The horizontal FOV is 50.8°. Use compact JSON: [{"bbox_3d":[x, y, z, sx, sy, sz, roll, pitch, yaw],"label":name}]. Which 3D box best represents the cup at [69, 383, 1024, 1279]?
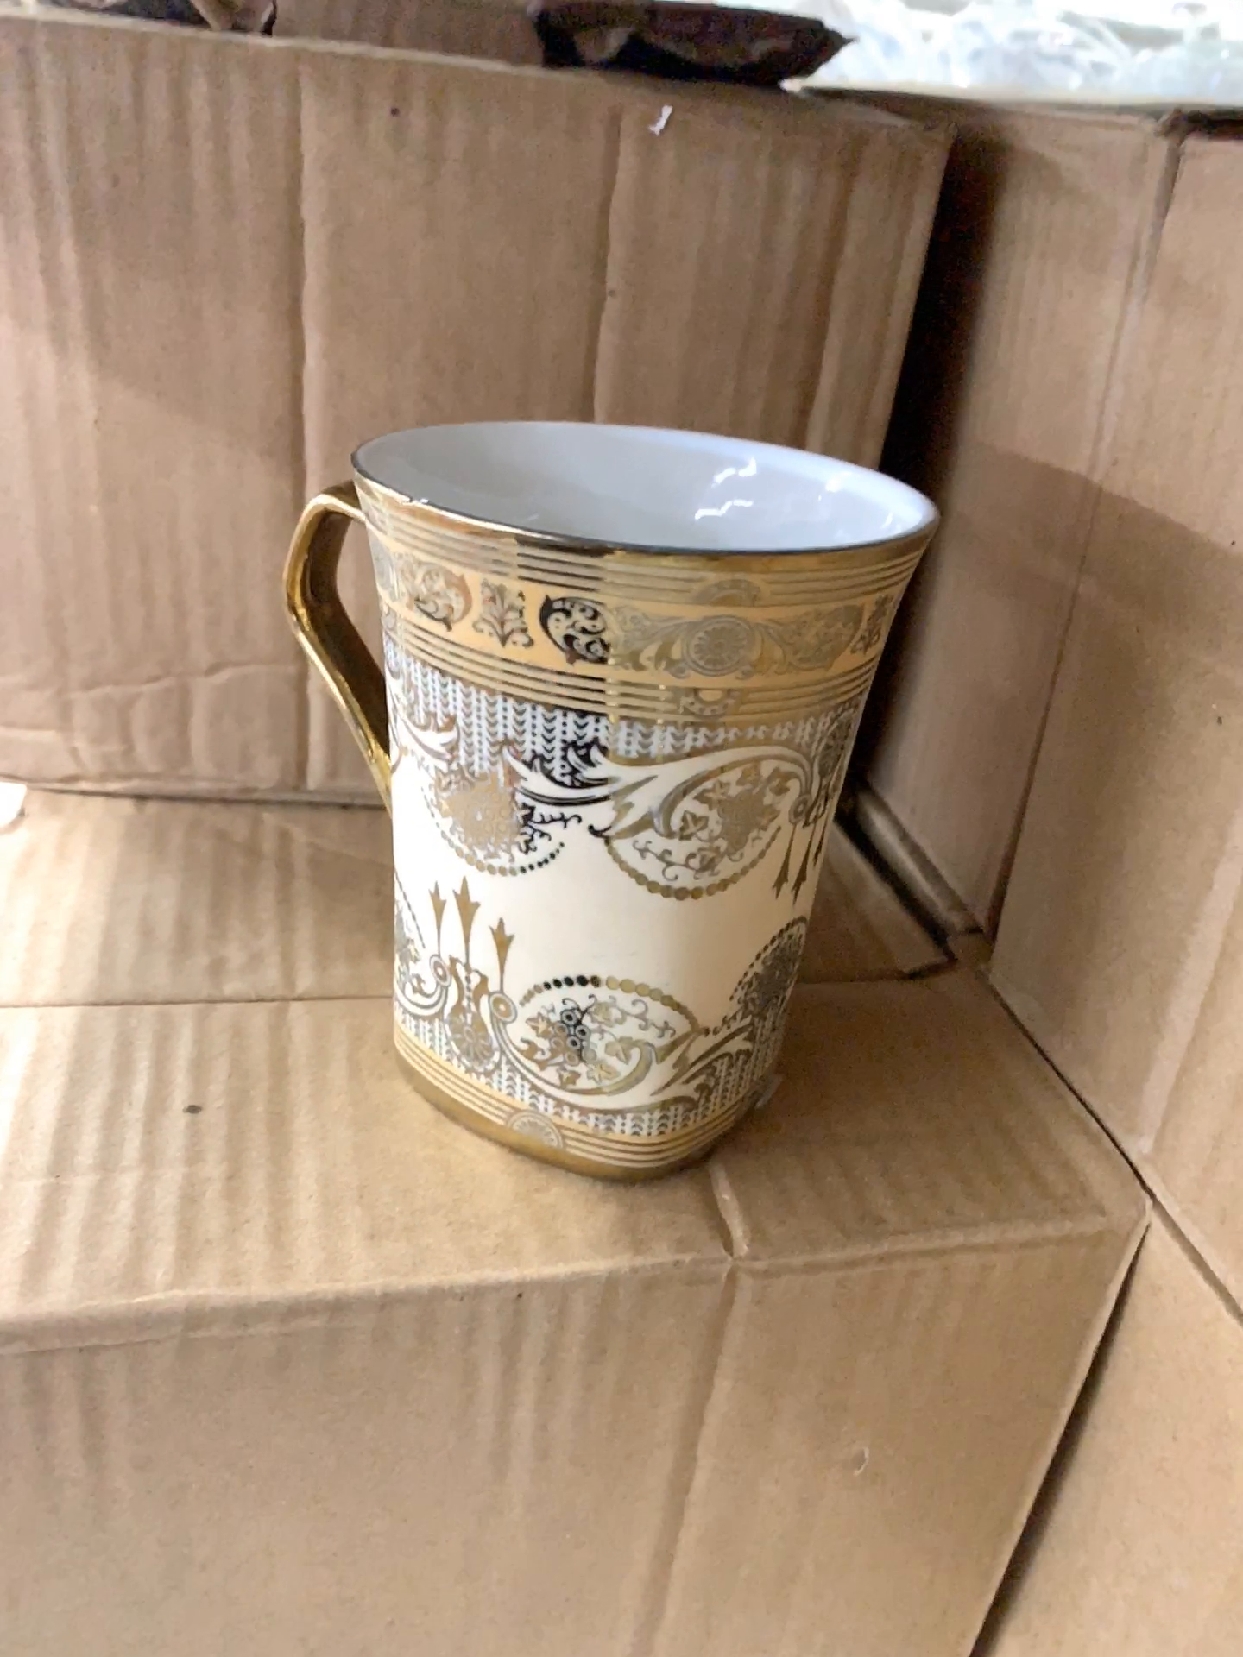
[{"bbox_3d":[-0.012,-0.012,0.207,0.110,0.089,0.080,19,31,27],"label":"cup"}]
